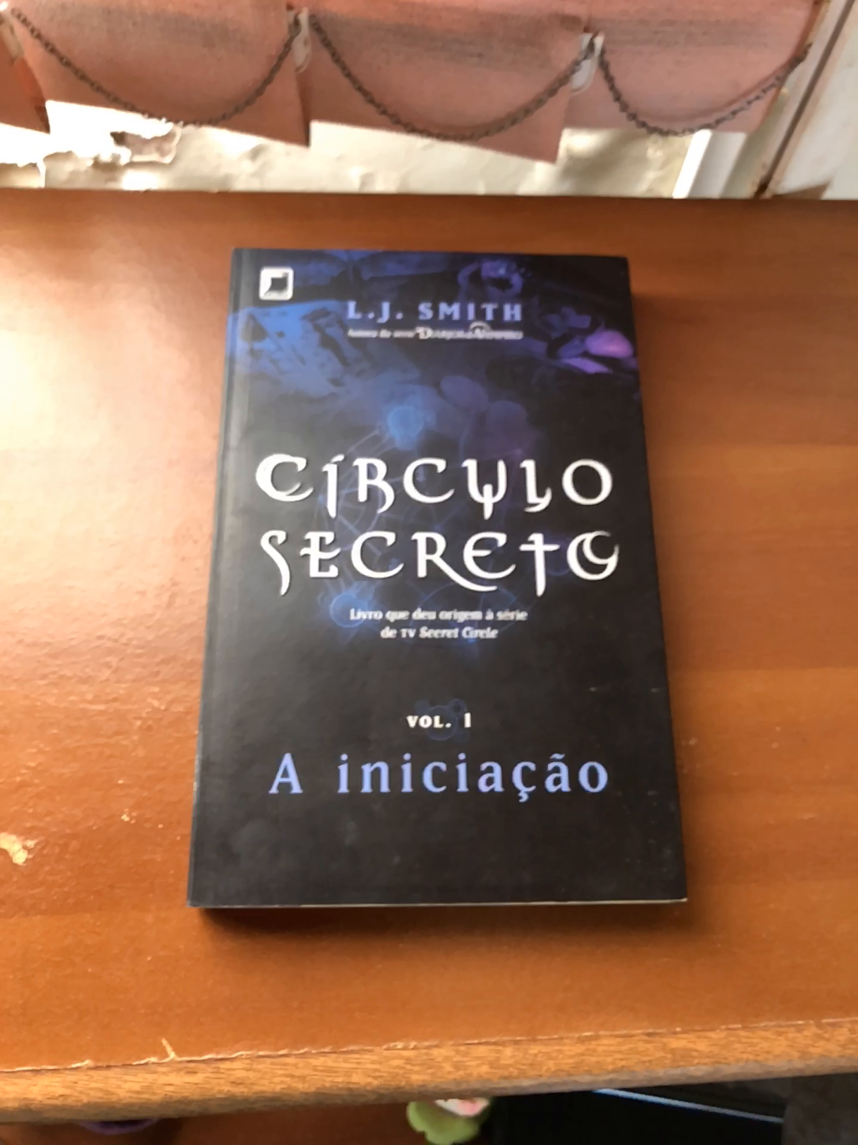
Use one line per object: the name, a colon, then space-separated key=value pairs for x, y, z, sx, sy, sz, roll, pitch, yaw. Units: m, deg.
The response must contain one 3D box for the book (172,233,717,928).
book: x=0.002 y=-0.007 z=0.294 sx=0.140 sy=0.024 sz=0.214 roll=0 pitch=69 yaw=-4
